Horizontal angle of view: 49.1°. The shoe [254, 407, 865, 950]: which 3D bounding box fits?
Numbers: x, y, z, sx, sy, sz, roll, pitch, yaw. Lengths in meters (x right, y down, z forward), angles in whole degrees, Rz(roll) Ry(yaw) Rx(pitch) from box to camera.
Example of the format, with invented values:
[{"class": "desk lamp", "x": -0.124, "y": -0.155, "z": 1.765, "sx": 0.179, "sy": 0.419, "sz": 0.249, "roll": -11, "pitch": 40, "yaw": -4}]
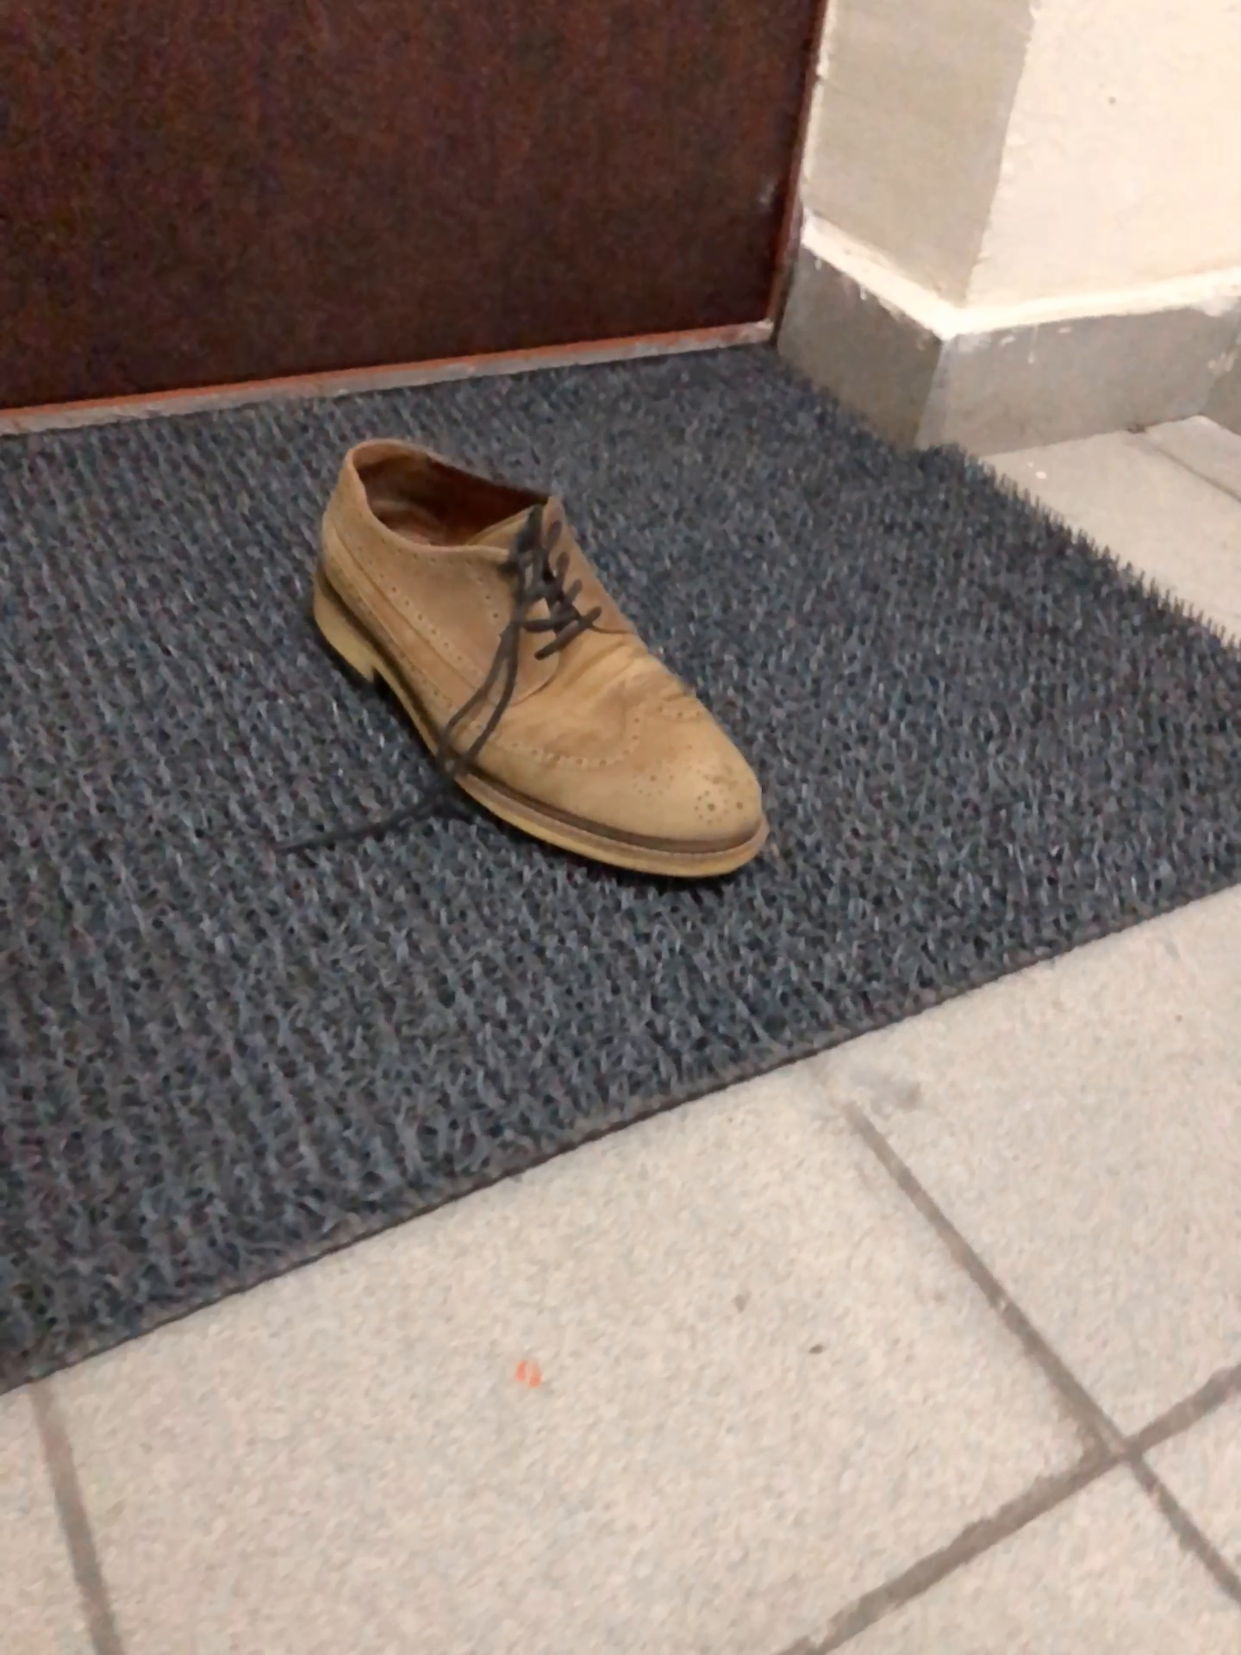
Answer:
[{"class": "shoe", "x": -0.043, "y": -0.087, "z": 0.653, "sx": 0.110, "sy": 0.099, "sz": 0.301, "roll": -27, "pitch": 51, "yaw": -35}]
